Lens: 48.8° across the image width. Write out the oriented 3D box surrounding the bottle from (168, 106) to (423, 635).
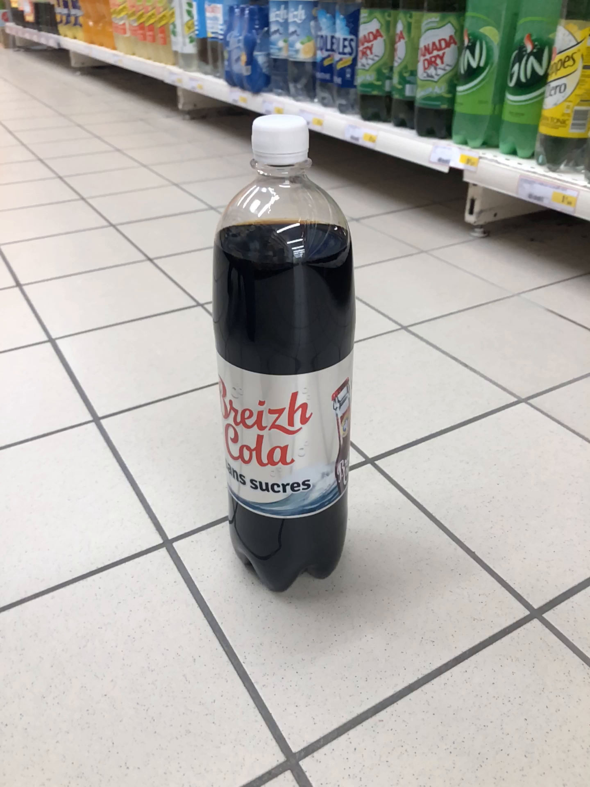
[{"bbox_3d":[0.002,-0.004,0.422,0.100,0.318,0.091,19,36,28],"label":"bottle"}]
